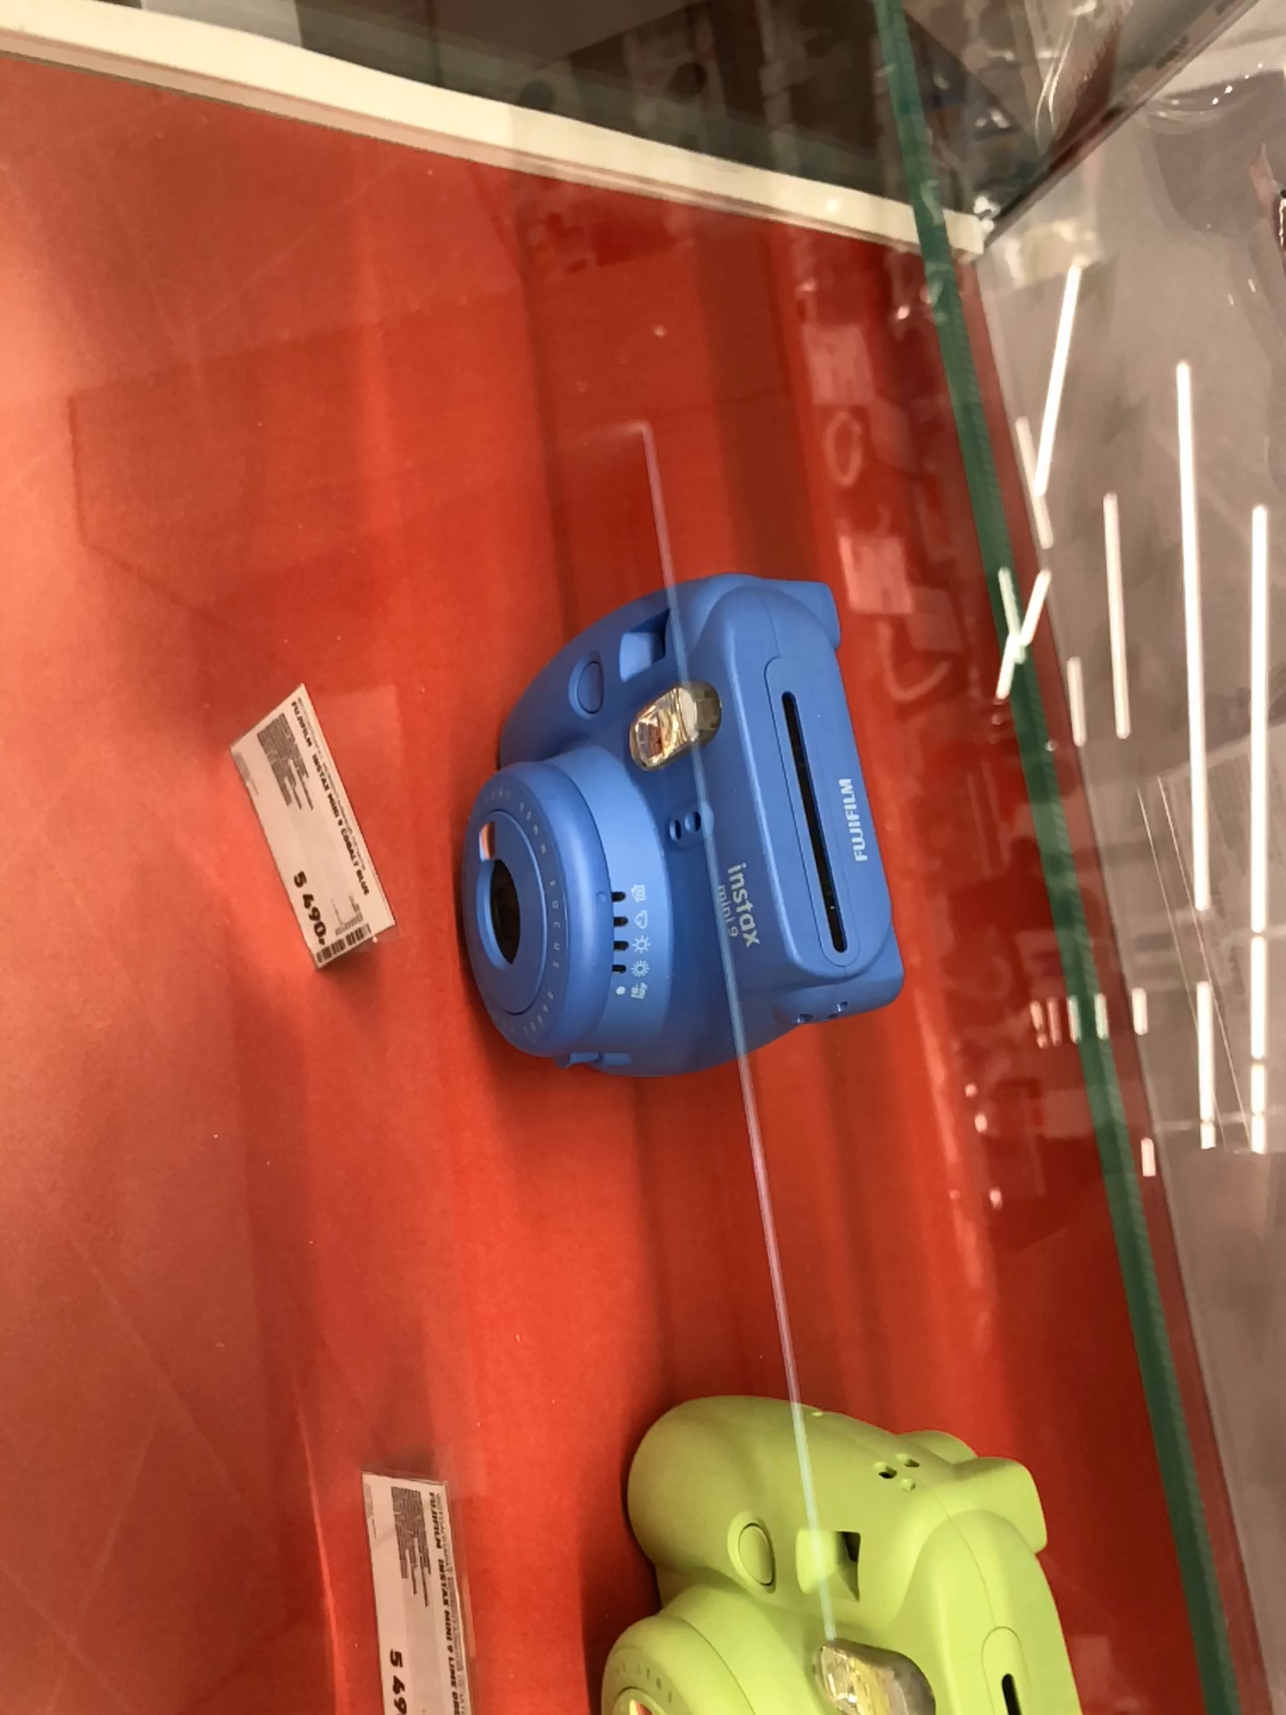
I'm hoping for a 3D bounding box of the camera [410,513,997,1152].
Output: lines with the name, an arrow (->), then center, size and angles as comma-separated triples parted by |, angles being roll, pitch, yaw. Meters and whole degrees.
camera -> 0.007, -0.002, 0.344 | 0.070, 0.110, 0.122 | -8, 80, -30
